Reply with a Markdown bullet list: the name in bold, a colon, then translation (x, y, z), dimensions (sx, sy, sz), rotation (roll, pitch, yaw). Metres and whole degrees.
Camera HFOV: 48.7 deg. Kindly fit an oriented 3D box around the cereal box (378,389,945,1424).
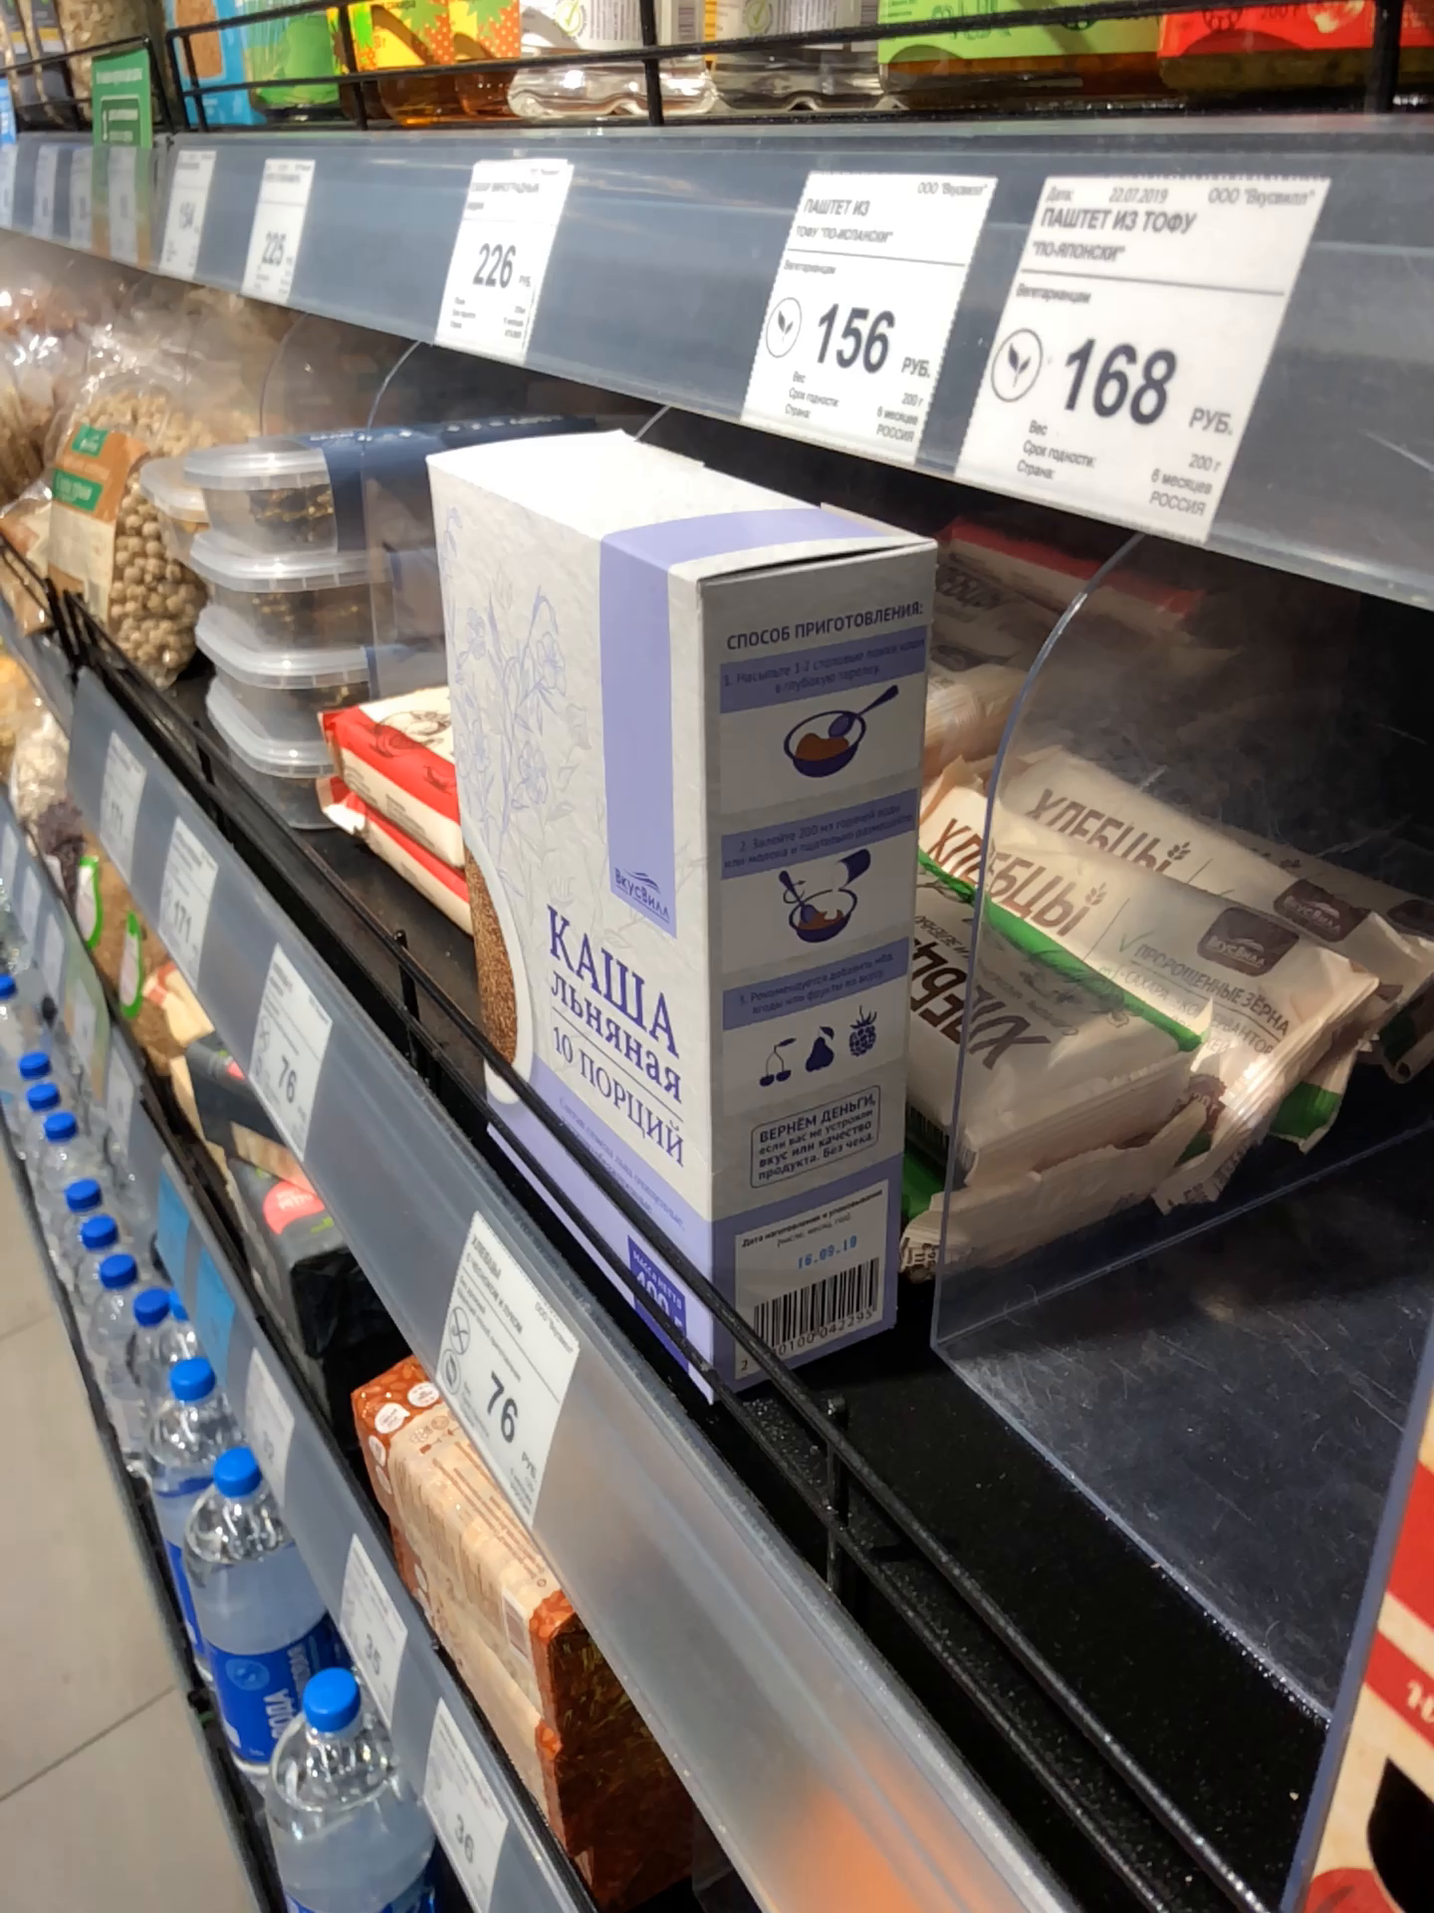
- **cereal box**: translation (-0.018, -0.020, 0.365), dimensions (0.050, 0.189, 0.151), rotation (-16, 31, -26)
